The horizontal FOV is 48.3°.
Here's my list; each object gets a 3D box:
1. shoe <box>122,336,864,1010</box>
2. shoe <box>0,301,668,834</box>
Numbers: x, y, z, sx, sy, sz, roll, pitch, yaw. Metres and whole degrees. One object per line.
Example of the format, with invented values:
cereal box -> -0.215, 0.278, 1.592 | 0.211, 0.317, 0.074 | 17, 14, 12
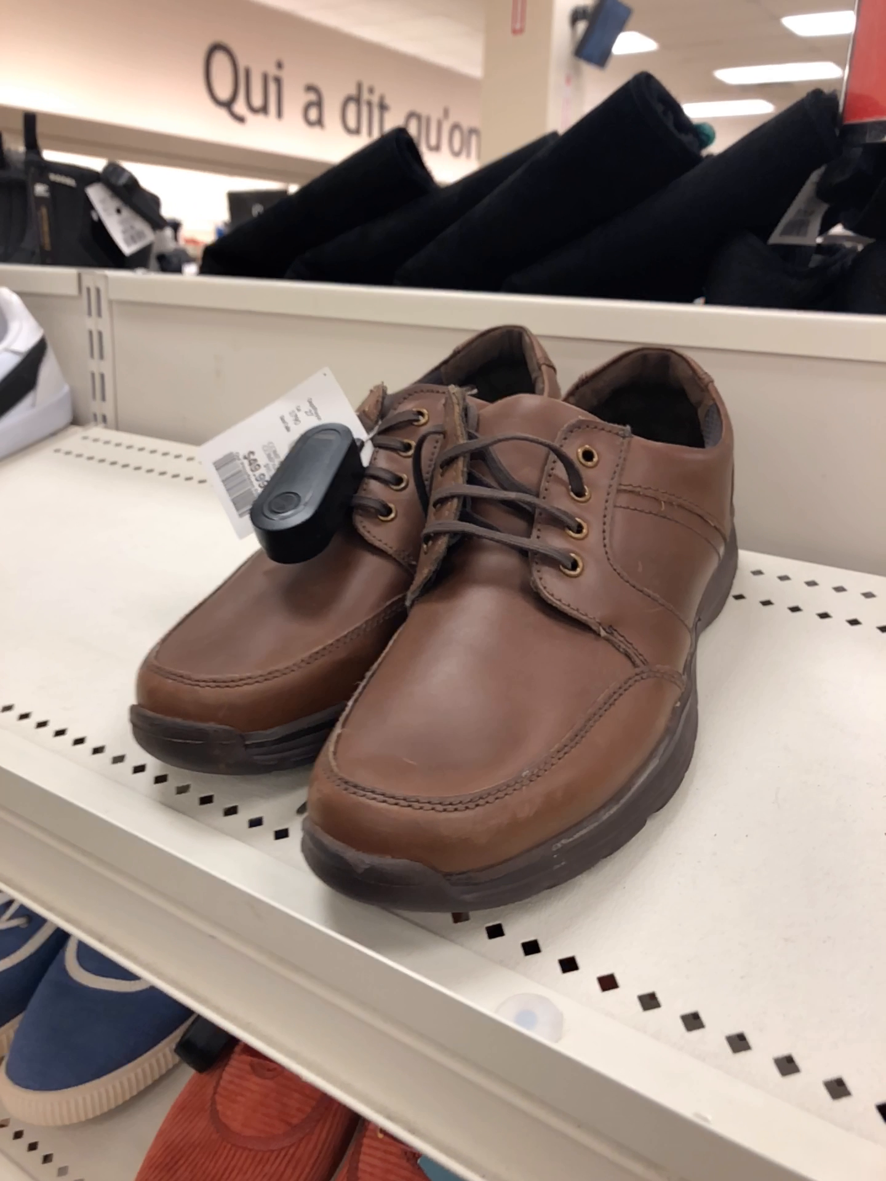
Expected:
shoe -> 0.058, -0.018, 0.376 | 0.120, 0.109, 0.342 | 12, 24, 29
shoe -> -0.023, -0.047, 0.435 | 0.120, 0.109, 0.332 | 13, 28, 31
